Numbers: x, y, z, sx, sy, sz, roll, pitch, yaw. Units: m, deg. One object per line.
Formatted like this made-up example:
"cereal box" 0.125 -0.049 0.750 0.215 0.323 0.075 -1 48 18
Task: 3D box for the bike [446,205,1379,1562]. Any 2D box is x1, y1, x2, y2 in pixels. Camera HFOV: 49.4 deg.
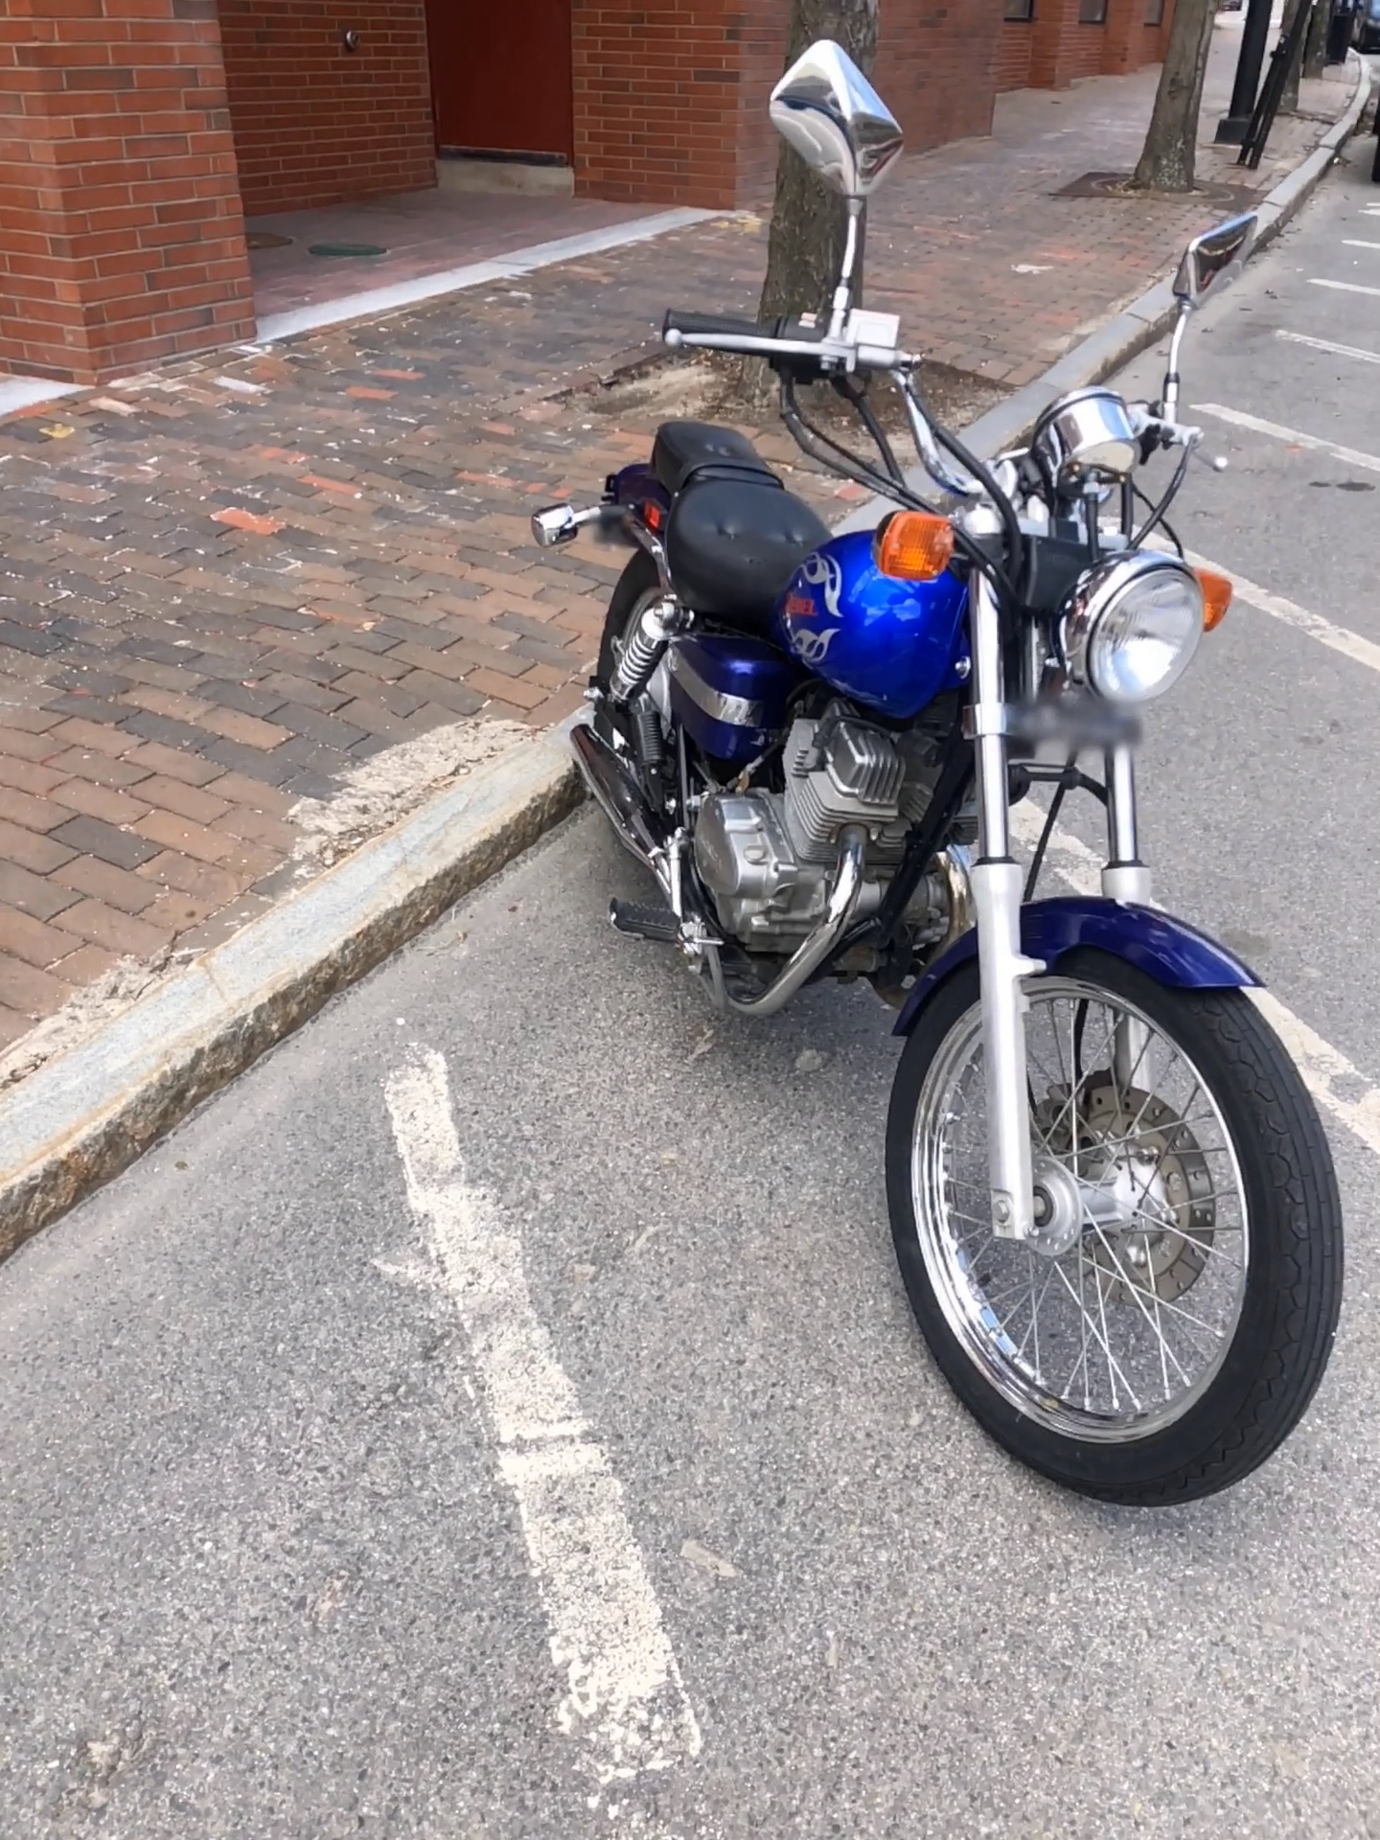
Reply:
"bike" 0.326 -0.337 1.987 0.788 1.037 1.917 -10 30 -19
